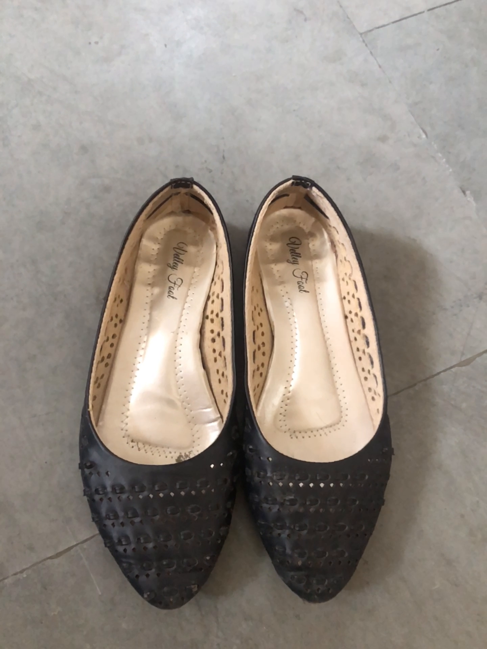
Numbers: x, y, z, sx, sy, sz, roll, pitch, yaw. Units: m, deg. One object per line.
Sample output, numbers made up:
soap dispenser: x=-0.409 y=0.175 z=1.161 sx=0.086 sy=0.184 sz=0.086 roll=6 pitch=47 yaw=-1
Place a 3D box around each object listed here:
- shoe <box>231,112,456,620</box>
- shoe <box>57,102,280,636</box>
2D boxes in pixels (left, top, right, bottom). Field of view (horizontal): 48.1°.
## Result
shoe: x=0.045 y=0.013 z=0.329 sx=0.100 sy=0.070 sz=0.280 roll=0 pitch=72 yaw=-3
shoe: x=-0.037 y=0.016 z=0.311 sx=0.100 sy=0.070 sz=0.270 roll=0 pitch=77 yaw=-3
